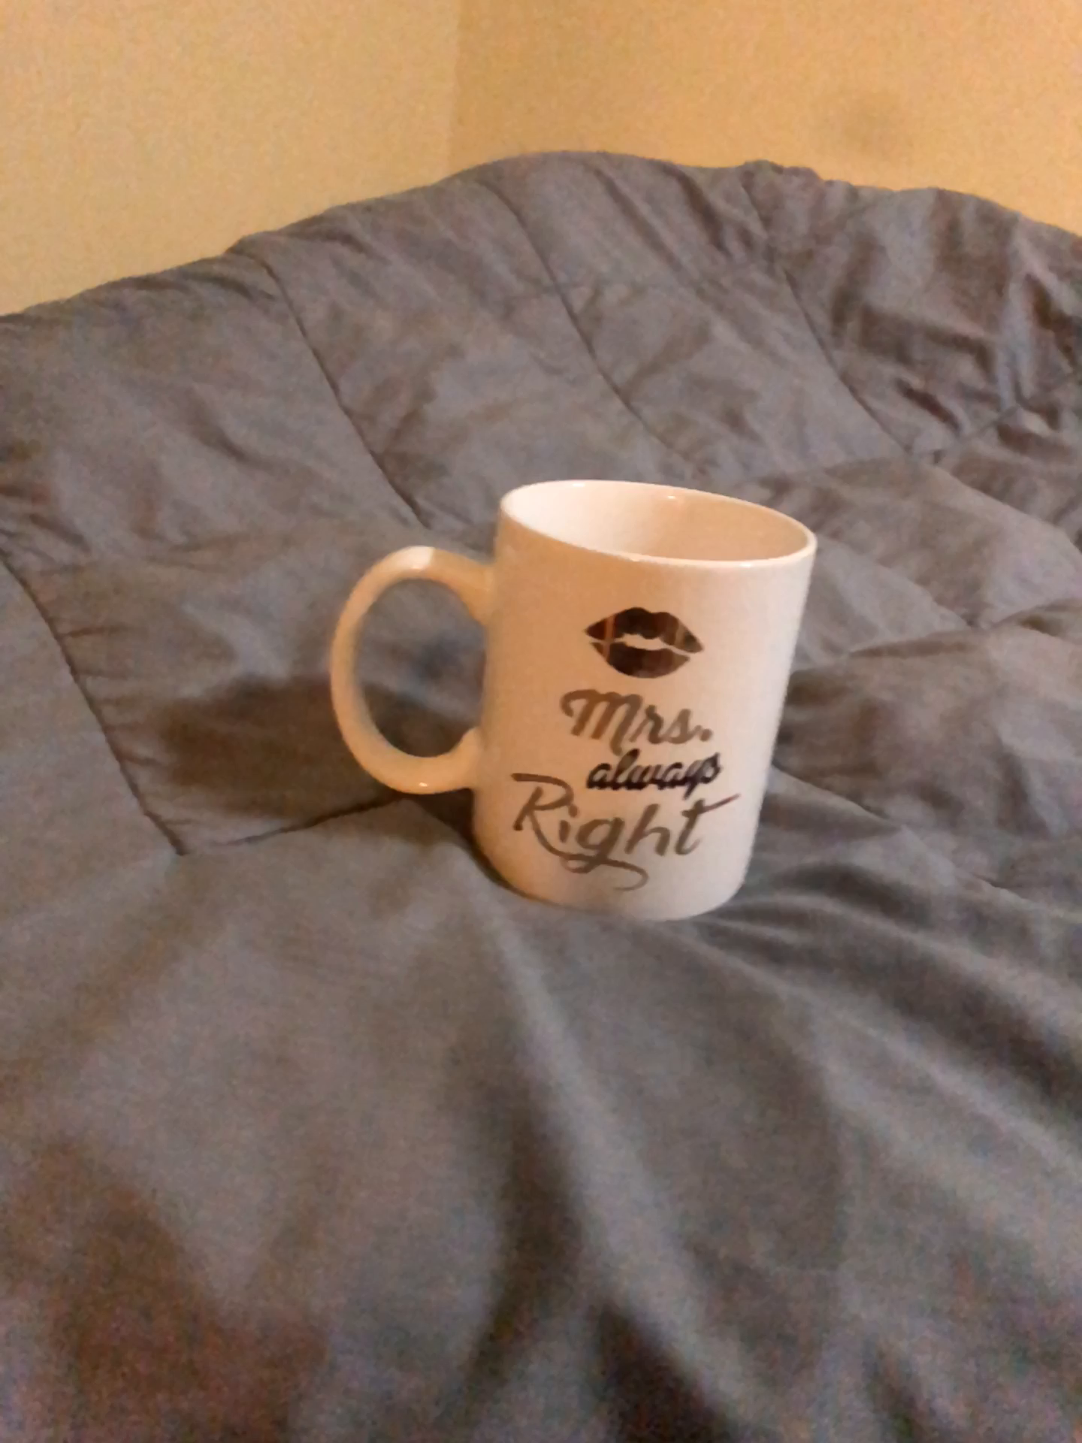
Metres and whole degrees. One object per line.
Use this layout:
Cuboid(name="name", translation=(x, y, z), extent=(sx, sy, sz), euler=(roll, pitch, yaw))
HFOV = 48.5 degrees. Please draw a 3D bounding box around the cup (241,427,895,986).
Cuboid(name="cup", translation=(0.003, -0.011, 0.348), extent=(0.150, 0.110, 0.110), euler=(7, 25, 0))
